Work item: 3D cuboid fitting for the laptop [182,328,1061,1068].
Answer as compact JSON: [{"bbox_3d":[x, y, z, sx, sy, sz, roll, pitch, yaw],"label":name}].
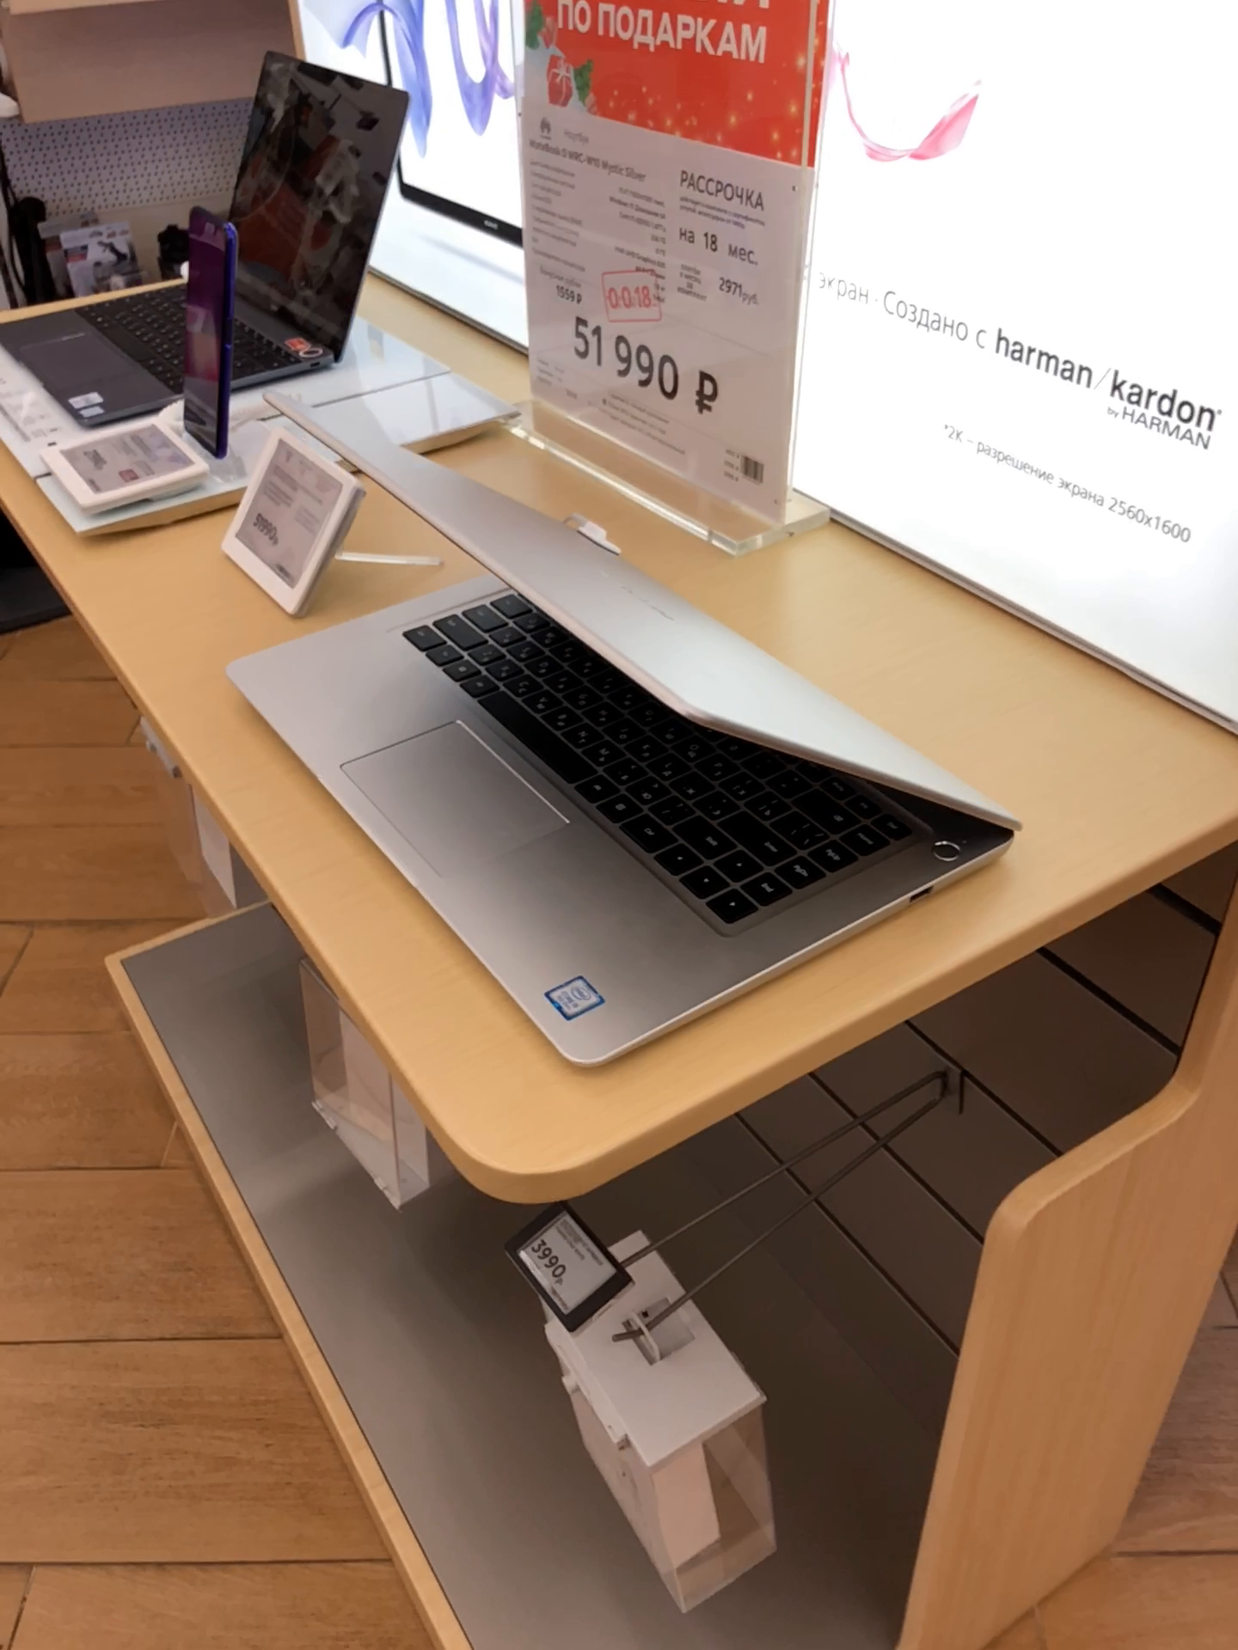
[{"bbox_3d":[-0.019,-0.093,0.622,0.230,0.135,0.344,-23,42,-25],"label":"laptop"}]
